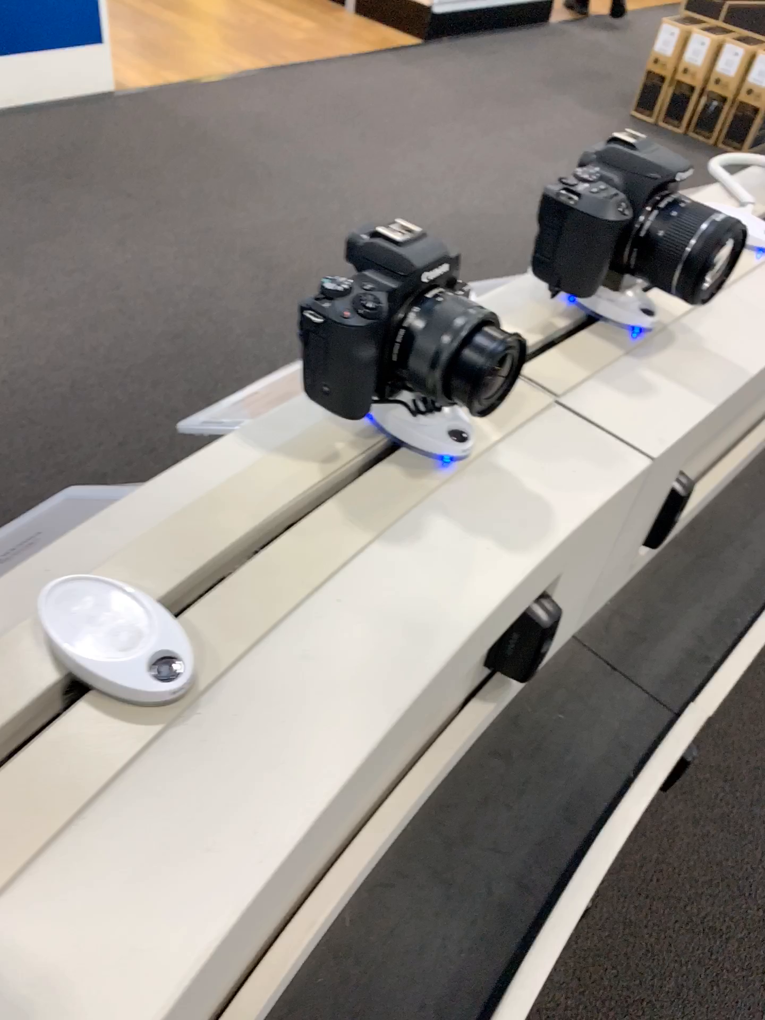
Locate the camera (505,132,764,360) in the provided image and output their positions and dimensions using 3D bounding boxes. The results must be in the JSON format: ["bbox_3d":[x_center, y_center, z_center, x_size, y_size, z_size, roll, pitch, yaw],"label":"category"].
[{"bbox_3d":[0.191,-0.203,0.596,0.135,0.089,0.122,35,49,23],"label":"camera"}]

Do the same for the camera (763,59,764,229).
[{"bbox_3d":[0.522,-0.392,0.841,0.134,0.101,0.146,-32,58,-34],"label":"camera"}]

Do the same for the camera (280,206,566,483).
[{"bbox_3d":[0.021,-0.102,0.468,0.111,0.088,0.112,35,49,23],"label":"camera"}]
